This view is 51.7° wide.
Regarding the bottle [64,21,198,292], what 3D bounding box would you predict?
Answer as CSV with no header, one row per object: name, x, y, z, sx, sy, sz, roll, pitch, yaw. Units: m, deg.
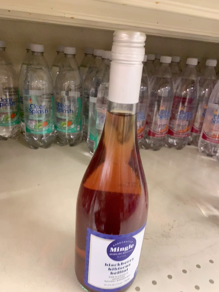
bottle,0.000,0.036,0.254,0.090,0.298,0.080,-2,26,-17
